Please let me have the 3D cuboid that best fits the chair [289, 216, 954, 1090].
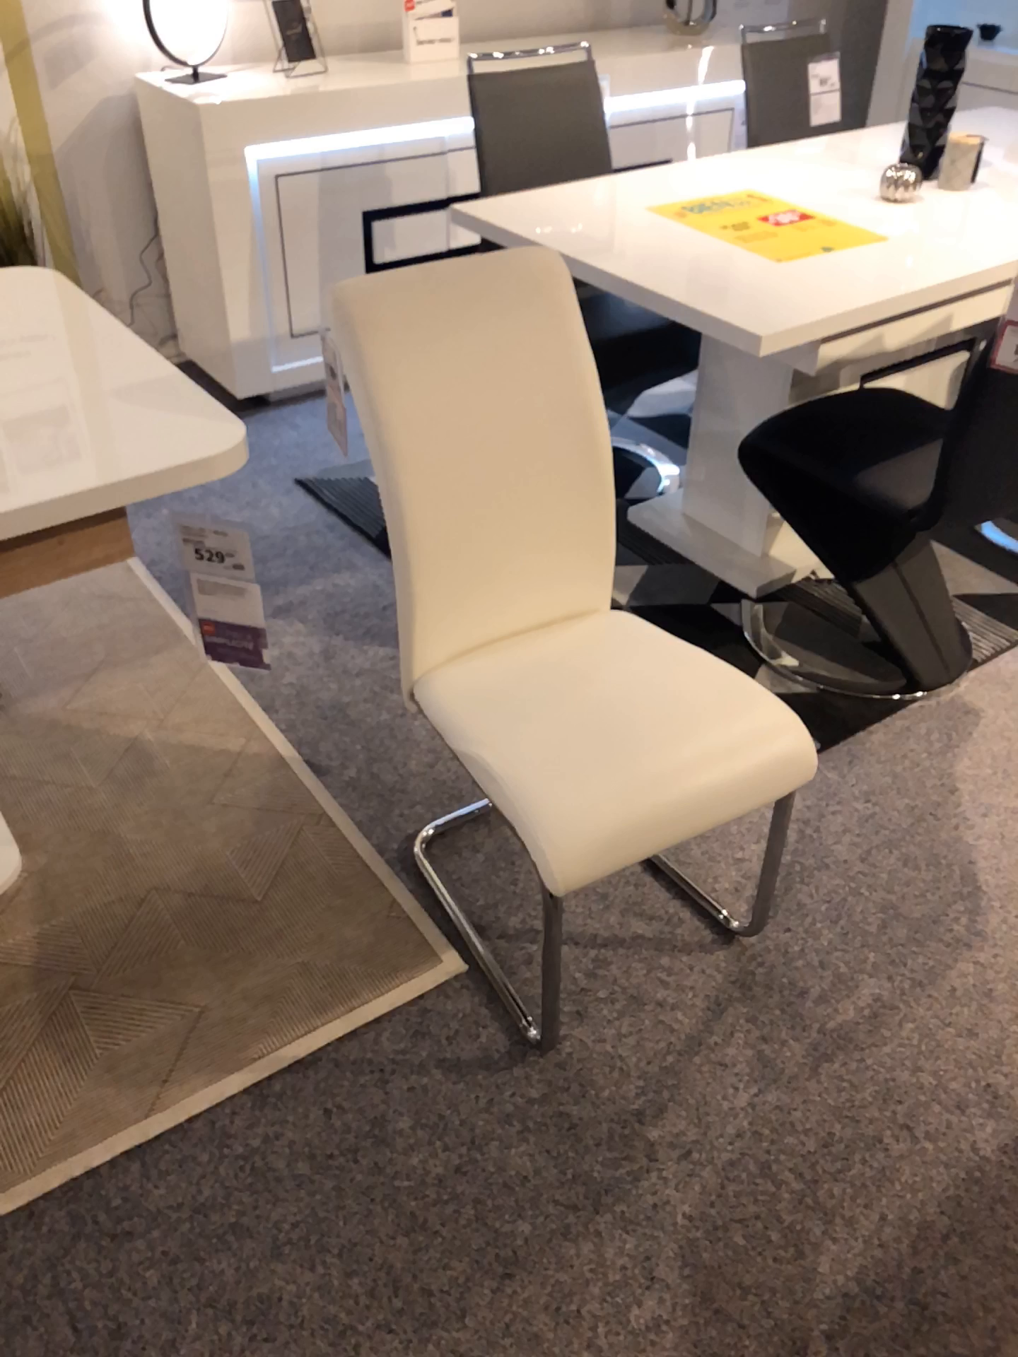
[{"bbox_3d":[0.101,-0.043,1.516,0.502,0.925,0.551,-22,42,-28],"label":"chair"}]
